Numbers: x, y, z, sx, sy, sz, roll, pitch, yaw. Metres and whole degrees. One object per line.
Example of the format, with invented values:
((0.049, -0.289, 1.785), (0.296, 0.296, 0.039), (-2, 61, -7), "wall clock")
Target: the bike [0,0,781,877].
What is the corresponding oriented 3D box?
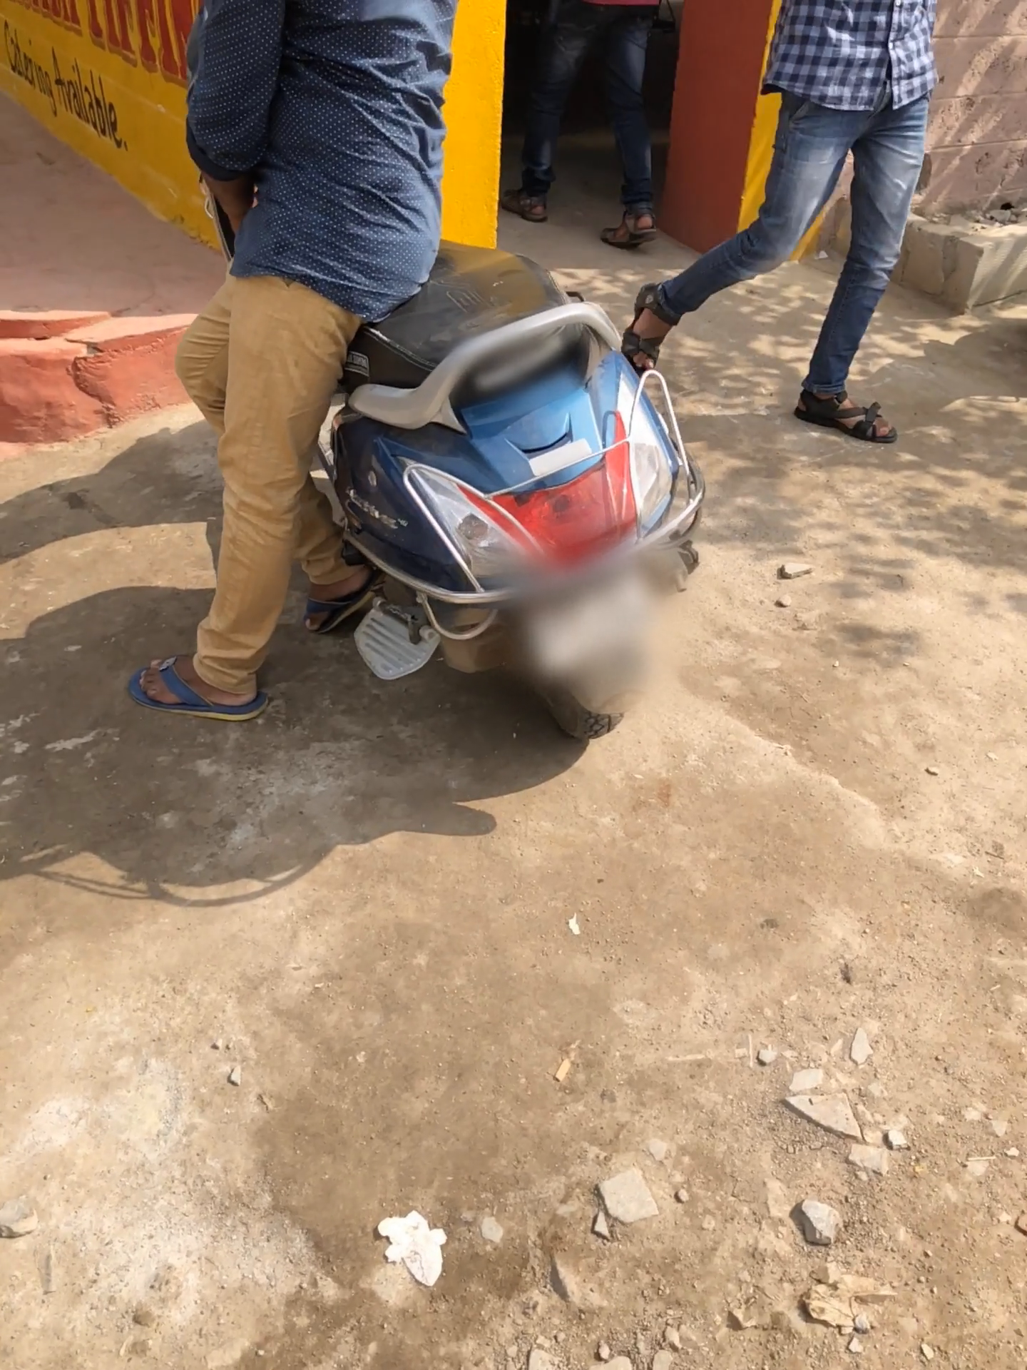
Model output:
((-0.393, -0.668, 2.171), (0.627, 1.187, 1.636), (-17, 40, -25), "bike")
